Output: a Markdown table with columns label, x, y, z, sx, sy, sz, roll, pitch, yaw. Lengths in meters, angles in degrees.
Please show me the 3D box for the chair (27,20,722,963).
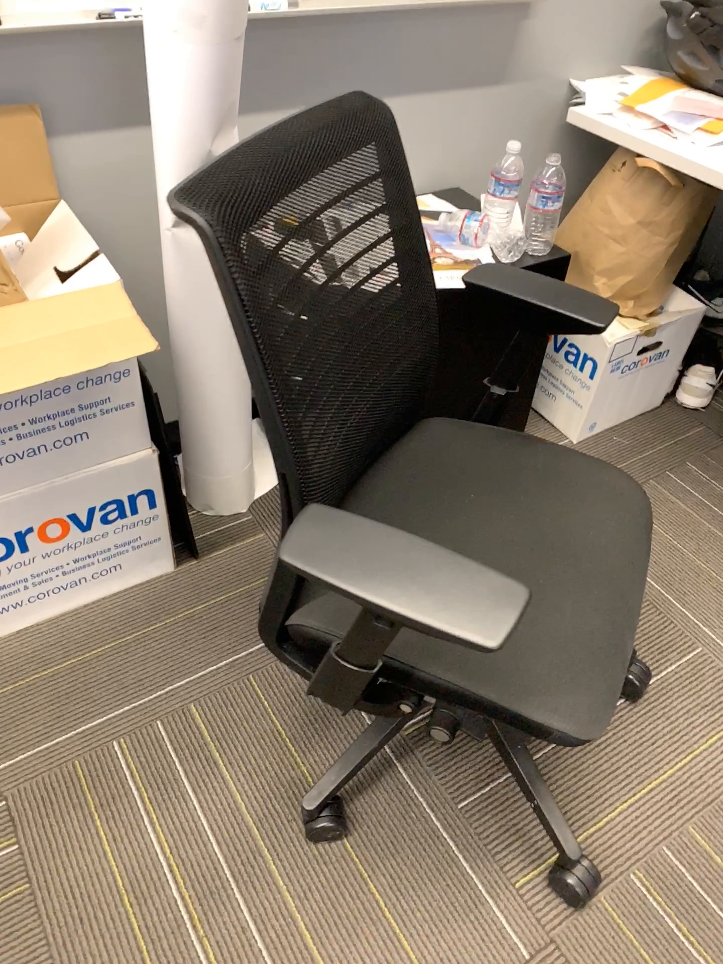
| label | x | y | z | sx | sy | sz | roll | pitch | yaw |
| --- | --- | --- | --- | --- | --- | --- | --- | --- | --- |
| chair | 0.174 | 0.020 | 0.978 | 0.681 | 0.915 | 0.663 | 16 | 44 | 13 |
